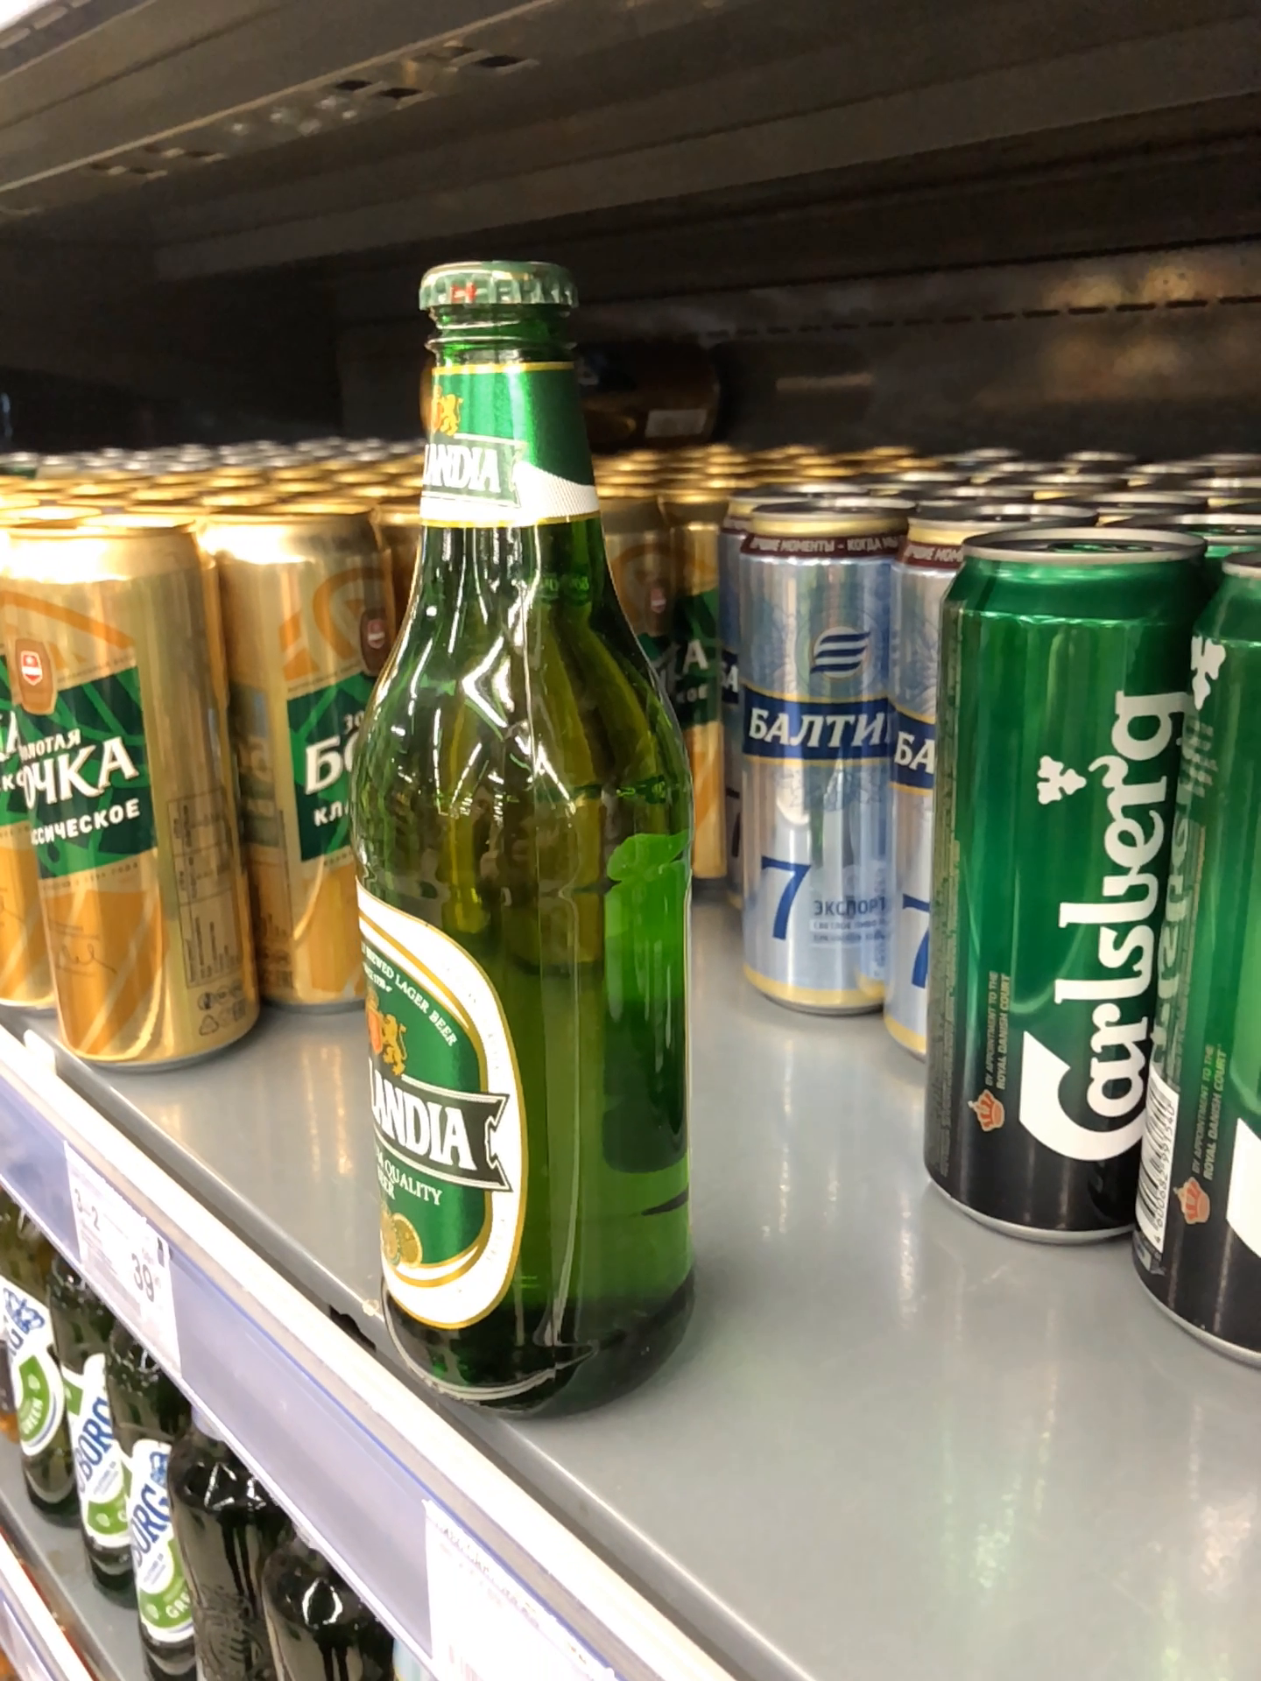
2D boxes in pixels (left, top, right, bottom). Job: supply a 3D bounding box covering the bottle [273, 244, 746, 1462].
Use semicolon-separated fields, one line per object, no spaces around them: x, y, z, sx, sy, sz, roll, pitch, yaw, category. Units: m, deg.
-0.022;0.002;0.274;0.063;0.212;0.070;-8;18;-22;bottle
